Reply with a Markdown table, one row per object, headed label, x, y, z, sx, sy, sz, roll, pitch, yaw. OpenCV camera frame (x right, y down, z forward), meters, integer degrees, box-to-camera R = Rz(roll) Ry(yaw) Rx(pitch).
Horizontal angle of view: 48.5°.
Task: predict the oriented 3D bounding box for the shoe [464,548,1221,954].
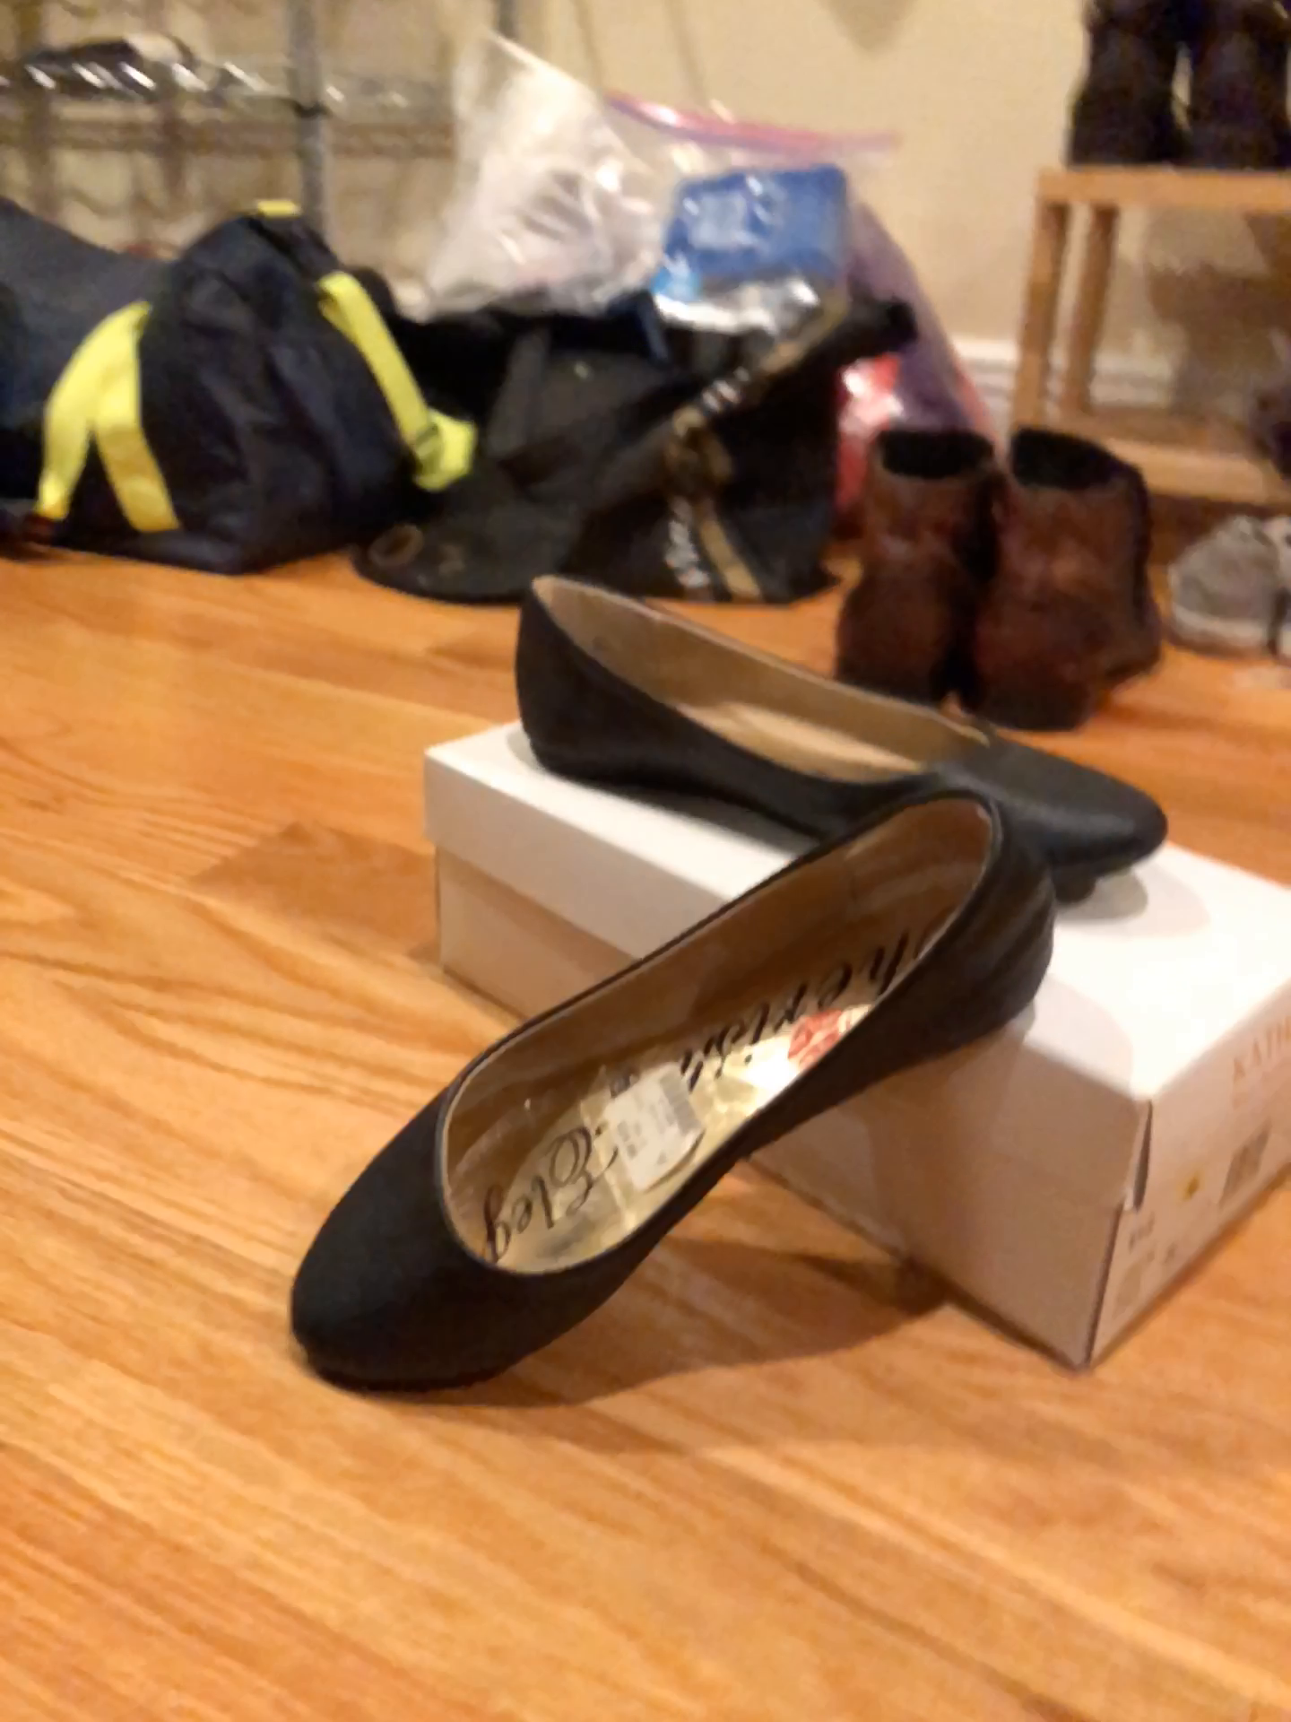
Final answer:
| label | x | y | z | sx | sy | sz | roll | pitch | yaw |
| --- | --- | --- | --- | --- | --- | --- | --- | --- | --- |
| shoe | 0.054 | -0.048 | 0.481 | 0.240 | 0.060 | 0.076 | 19 | 31 | 31 |

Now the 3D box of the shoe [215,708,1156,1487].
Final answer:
| label | x | y | z | sx | sy | sz | roll | pitch | yaw |
| --- | --- | --- | --- | --- | --- | --- | --- | --- | --- |
| shoe | 0.003 | 0.066 | 0.381 | 0.239 | 0.060 | 0.076 | -33 | 44 | 8 |
